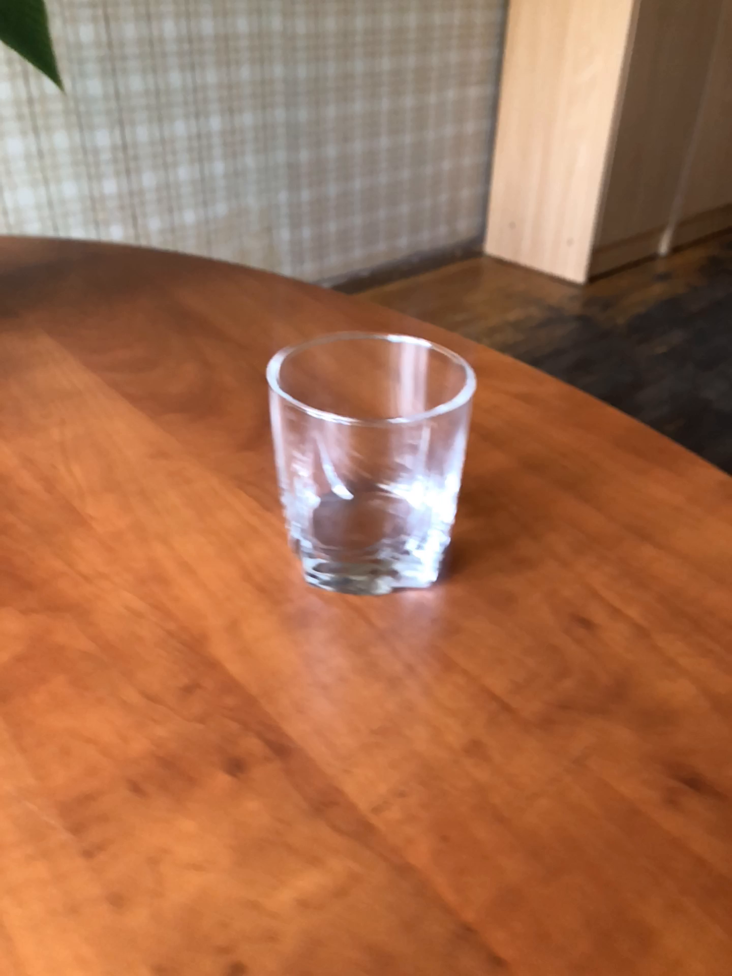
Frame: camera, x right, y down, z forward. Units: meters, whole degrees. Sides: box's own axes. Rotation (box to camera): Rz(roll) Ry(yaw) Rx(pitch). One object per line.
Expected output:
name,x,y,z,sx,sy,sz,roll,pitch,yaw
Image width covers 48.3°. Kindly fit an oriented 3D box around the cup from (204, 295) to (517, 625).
cup,0.000,-0.018,0.346,0.089,0.086,0.095,1,32,-1
